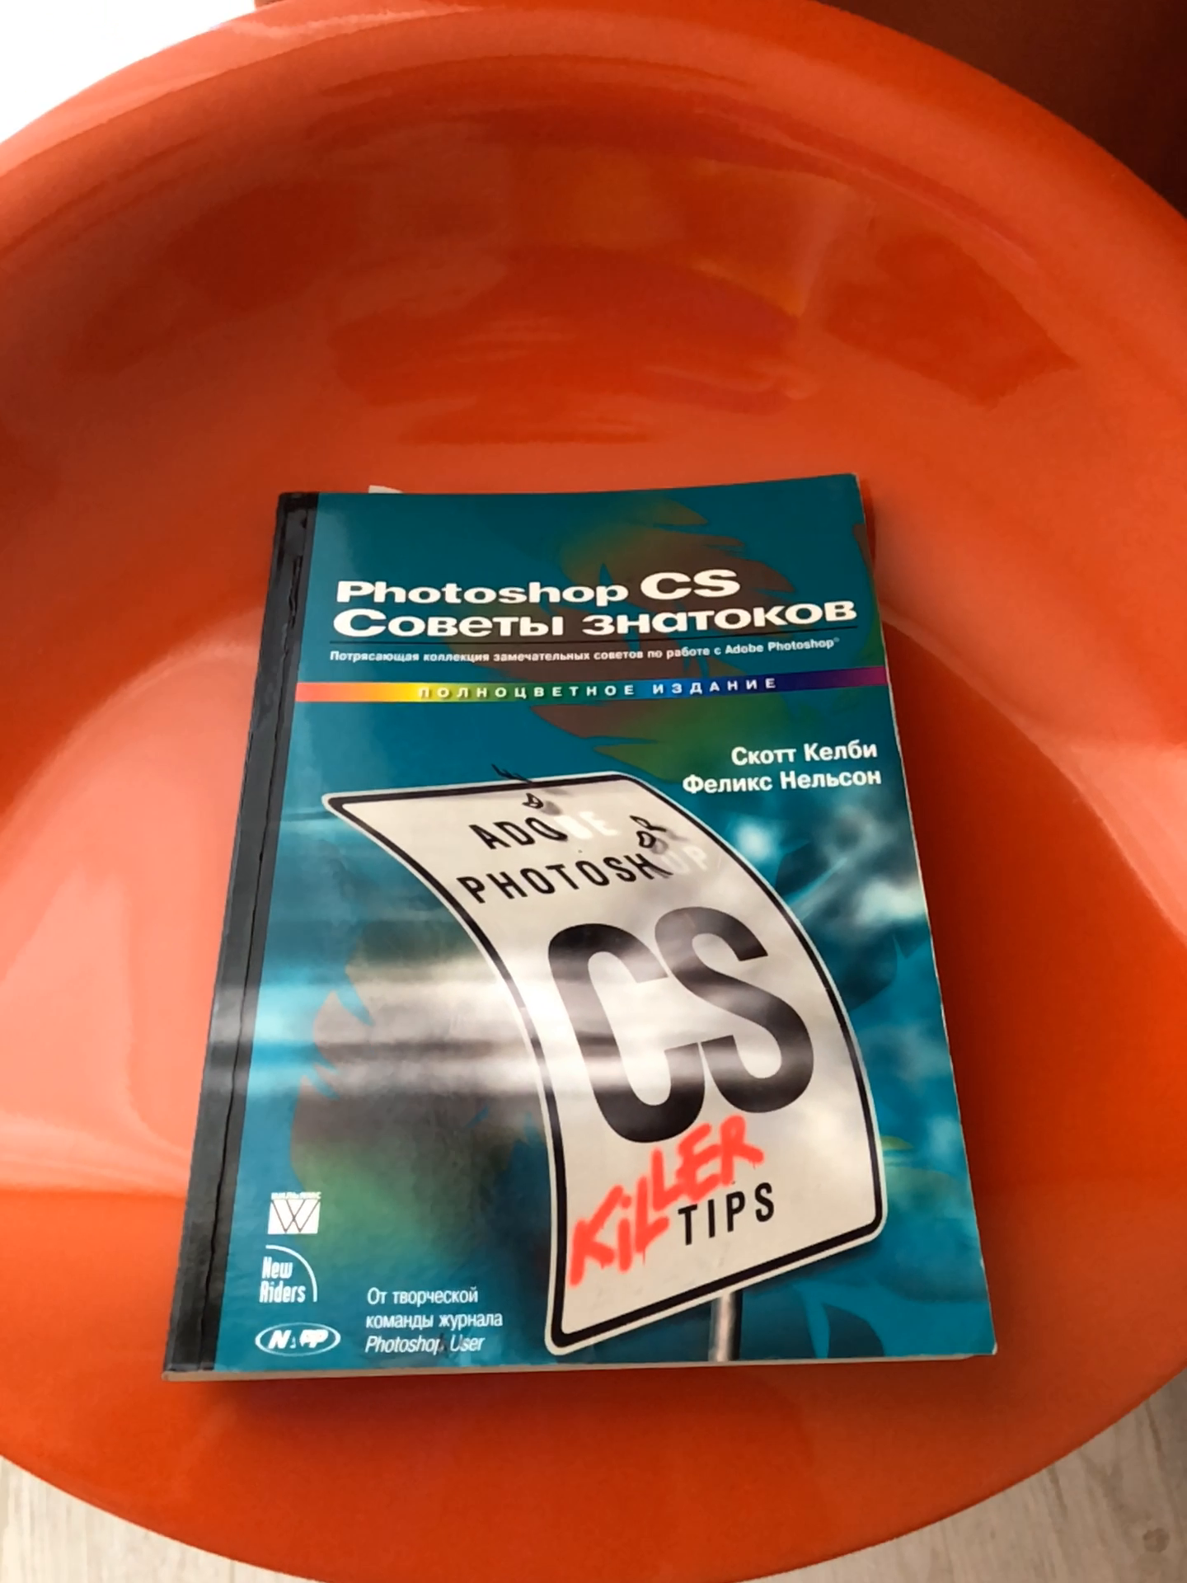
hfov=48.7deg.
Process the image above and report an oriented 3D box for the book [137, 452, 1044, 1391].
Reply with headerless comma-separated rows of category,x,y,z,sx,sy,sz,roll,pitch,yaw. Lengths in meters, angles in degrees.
book,-0.004,0.015,0.325,0.174,0.030,0.237,-2,59,0
